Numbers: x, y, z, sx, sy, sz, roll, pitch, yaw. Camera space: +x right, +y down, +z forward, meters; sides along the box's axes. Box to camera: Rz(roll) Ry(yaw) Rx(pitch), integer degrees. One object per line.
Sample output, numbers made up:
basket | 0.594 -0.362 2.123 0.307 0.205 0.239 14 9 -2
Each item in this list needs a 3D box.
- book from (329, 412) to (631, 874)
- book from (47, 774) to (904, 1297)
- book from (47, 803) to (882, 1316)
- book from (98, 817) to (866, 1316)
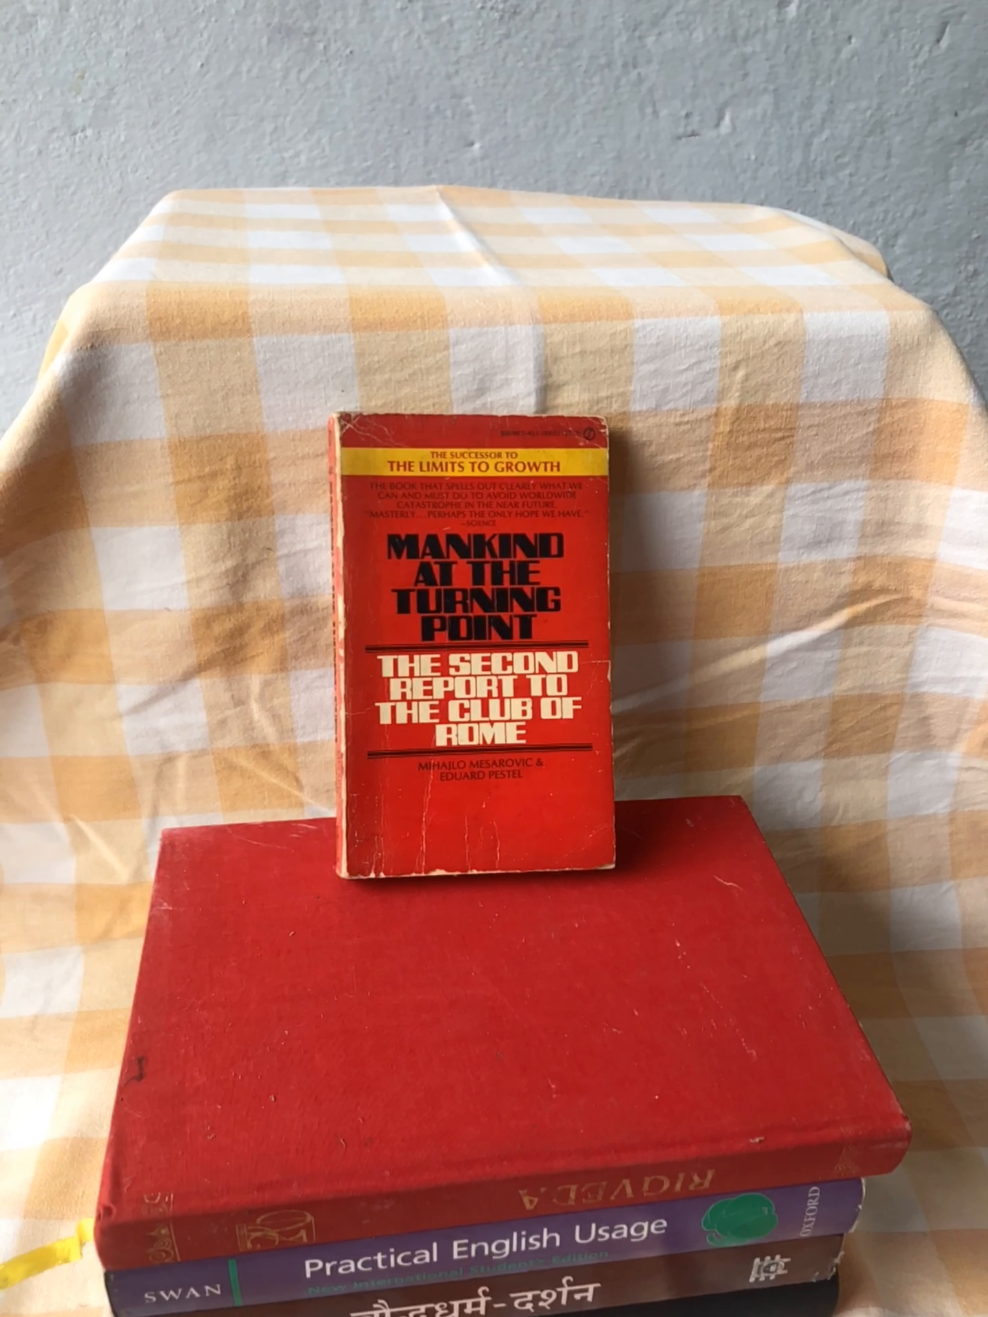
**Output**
book | -0.006 -0.007 0.426 0.110 0.170 0.040 -1 7 -7
book | -0.011 0.134 0.446 0.280 0.040 0.191 -4 33 -5
book | -0.015 0.147 0.443 0.270 0.040 0.191 -4 33 -5
book | -0.010 0.151 0.430 0.240 0.040 0.191 -4 33 -5
